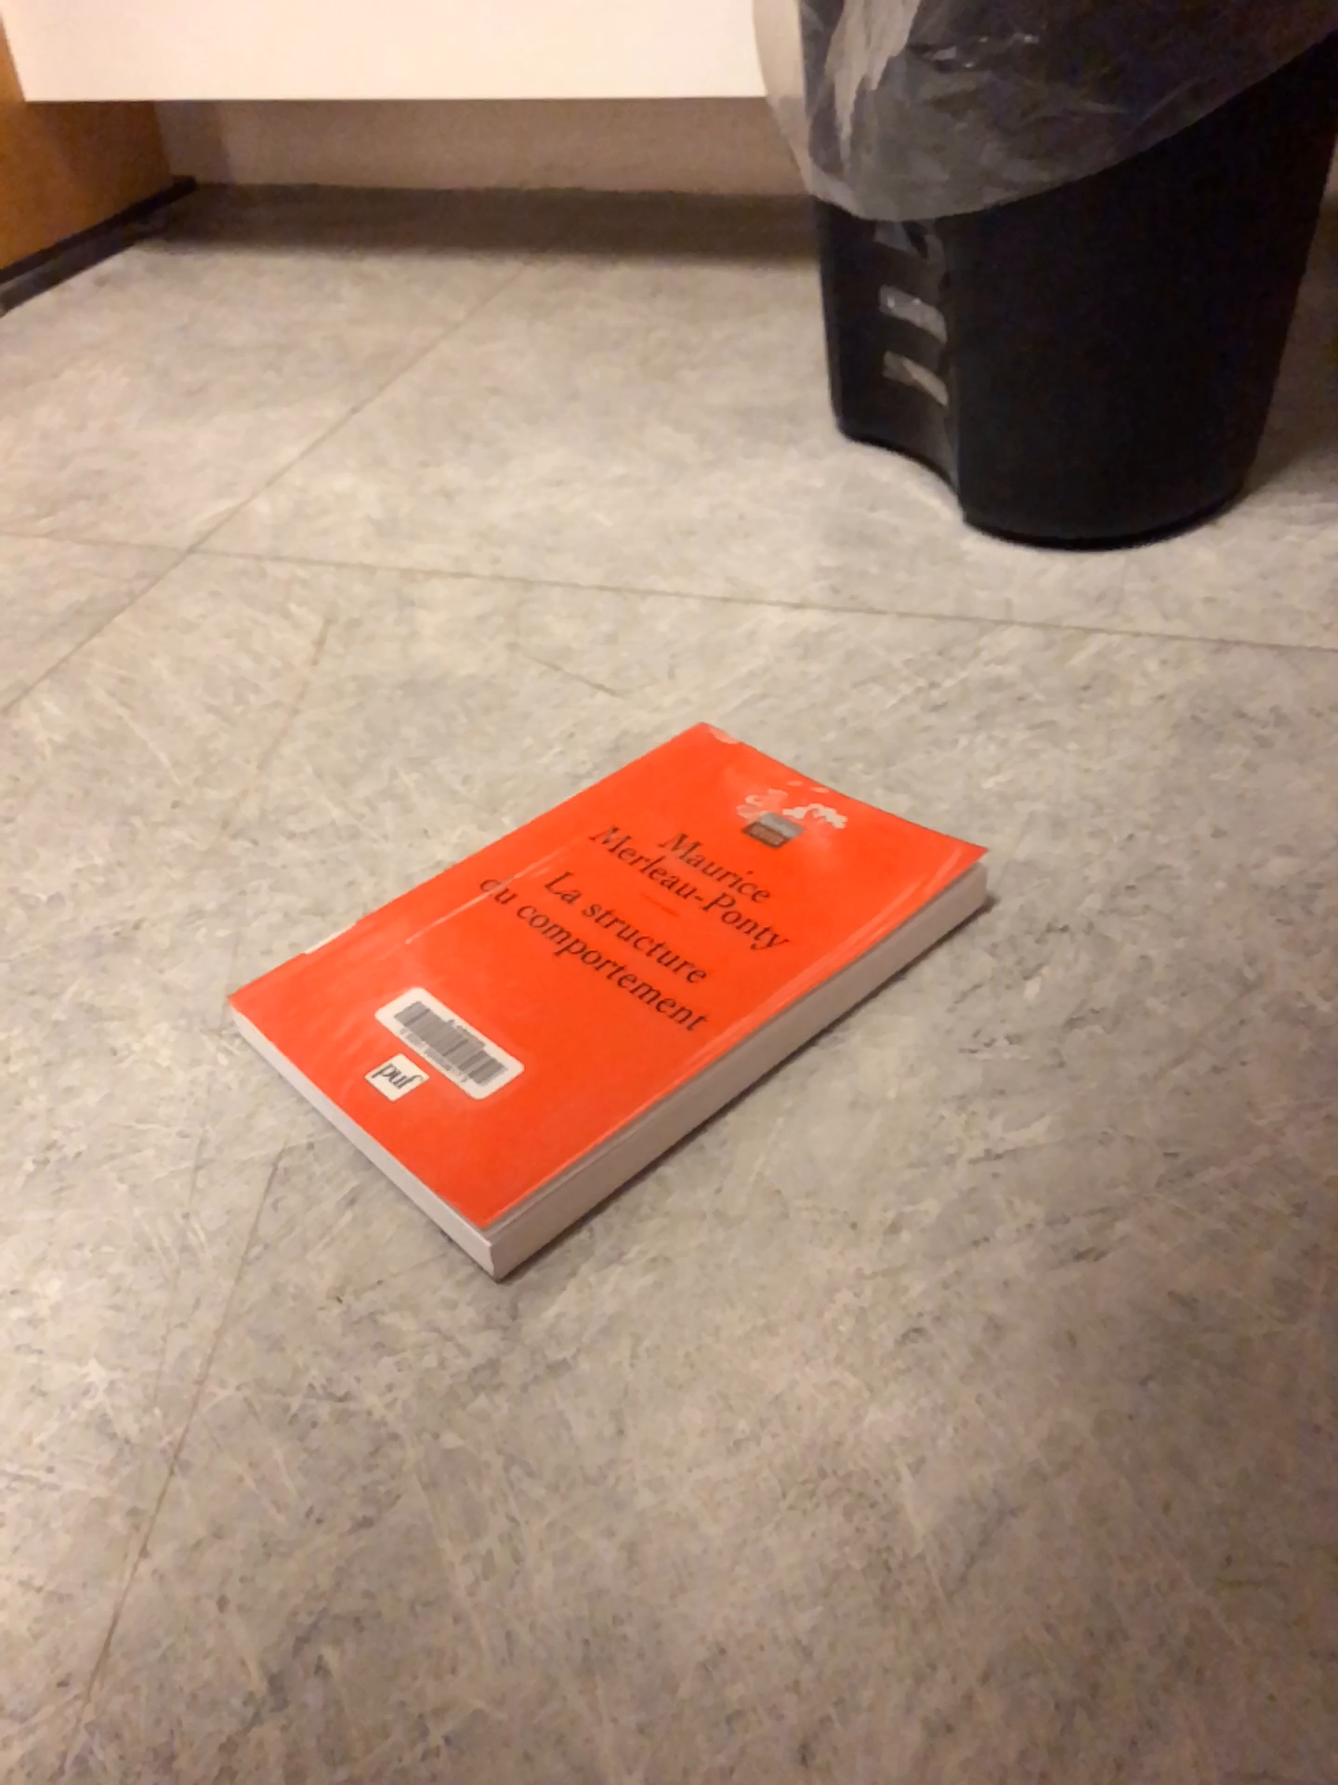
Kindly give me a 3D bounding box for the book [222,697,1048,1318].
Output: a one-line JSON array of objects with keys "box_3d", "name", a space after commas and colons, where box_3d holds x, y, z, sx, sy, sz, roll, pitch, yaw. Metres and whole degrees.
[{"box_3d": [-0.007, 0.016, 0.433, 0.201, 0.020, 0.135, -33, 47, -29], "name": "book"}]
